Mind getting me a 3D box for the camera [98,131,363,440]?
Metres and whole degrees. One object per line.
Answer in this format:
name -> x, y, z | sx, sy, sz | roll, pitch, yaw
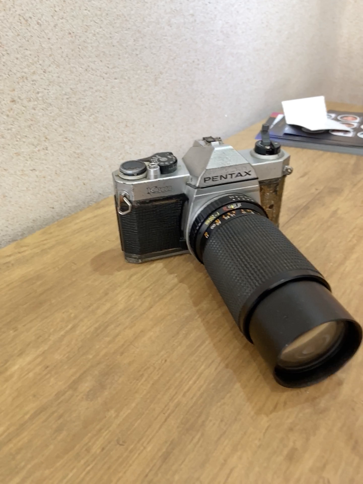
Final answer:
camera -> 0.039, 0.000, 0.251 | 0.150, 0.079, 0.181 | -13, 34, -14
